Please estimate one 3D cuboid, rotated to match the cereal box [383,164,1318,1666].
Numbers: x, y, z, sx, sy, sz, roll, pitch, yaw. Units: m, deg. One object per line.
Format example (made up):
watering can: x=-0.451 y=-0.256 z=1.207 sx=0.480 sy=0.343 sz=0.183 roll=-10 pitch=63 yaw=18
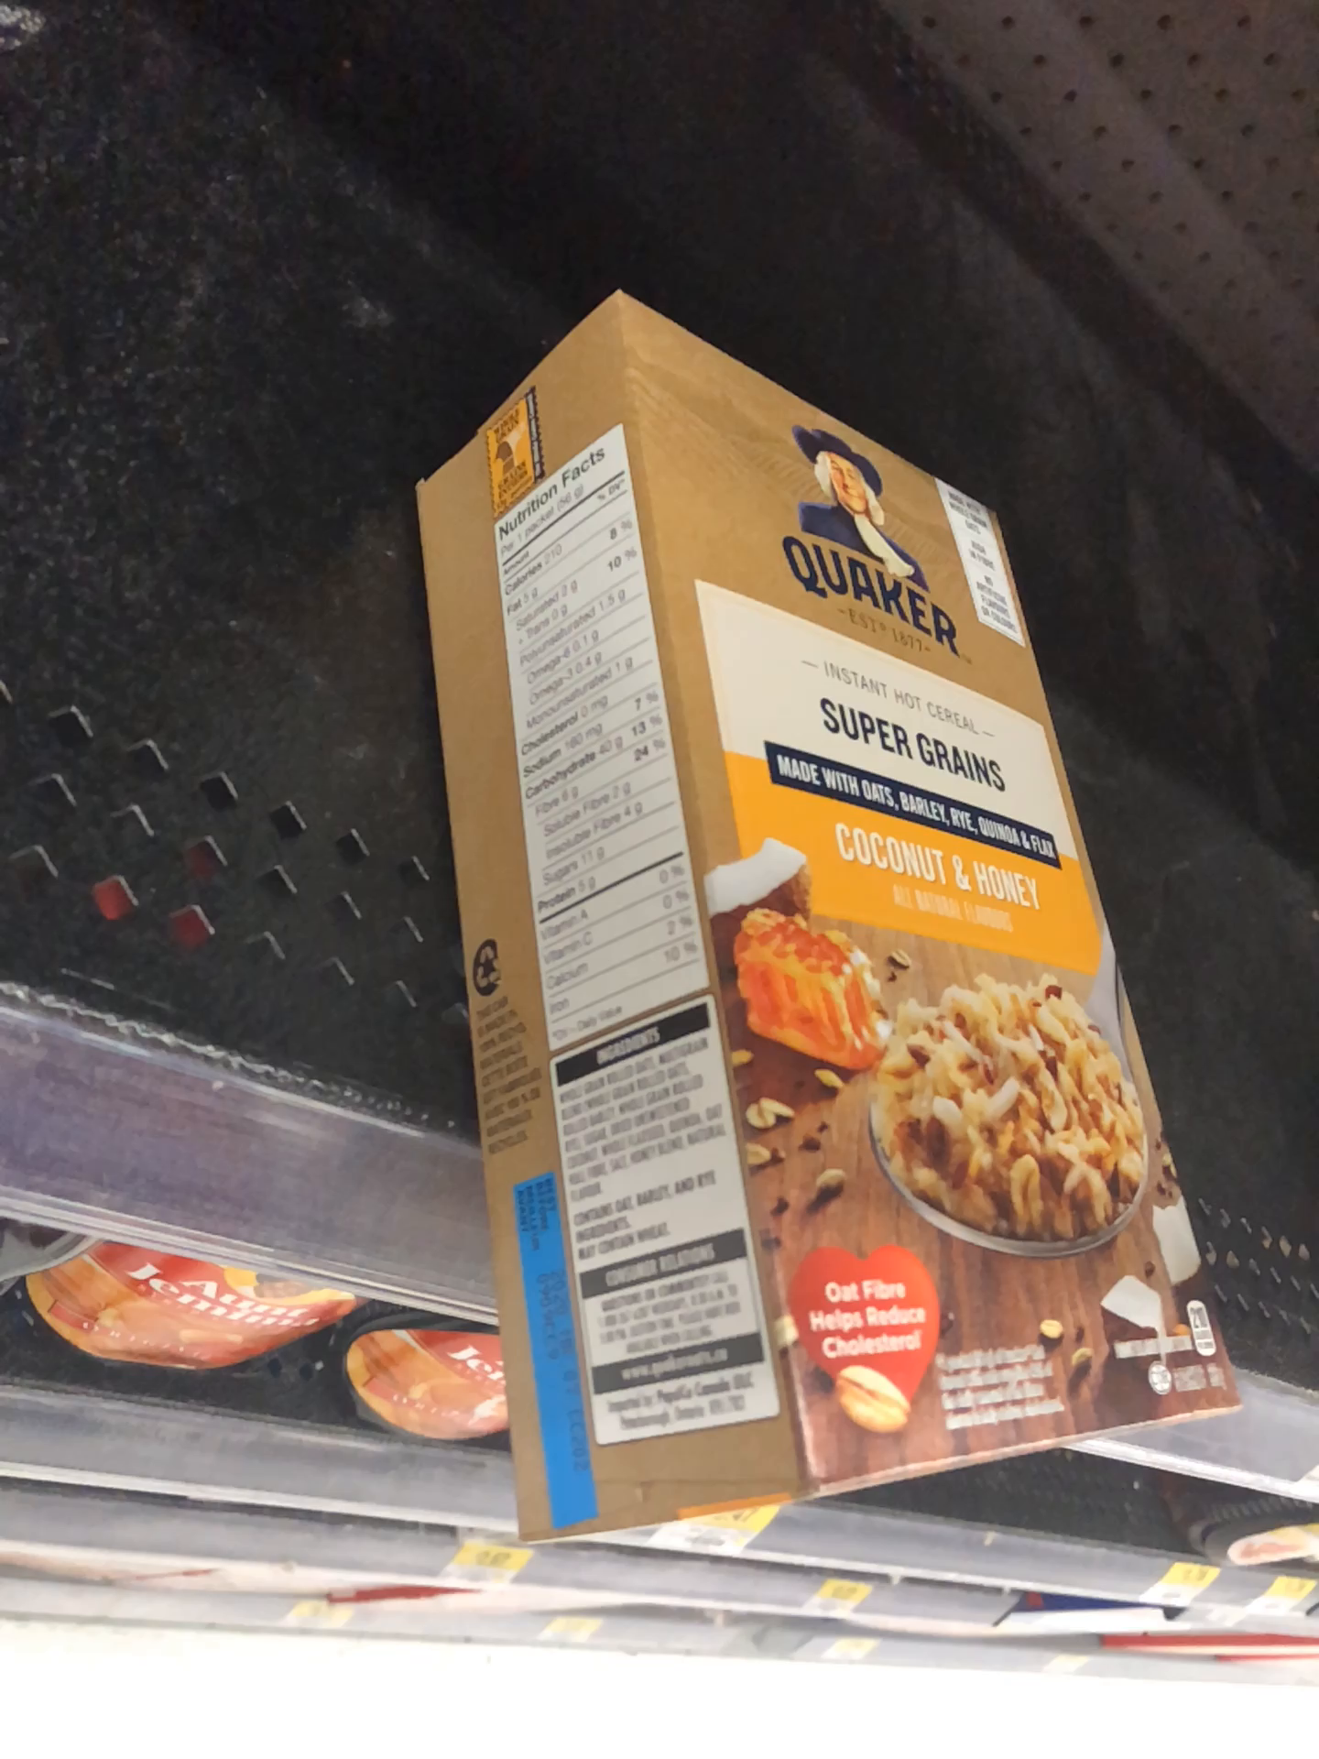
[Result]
cereal box: x=0.033 y=0.004 z=0.274 sx=0.141 sy=0.060 sz=0.230 roll=14 pitch=57 yaw=-42
